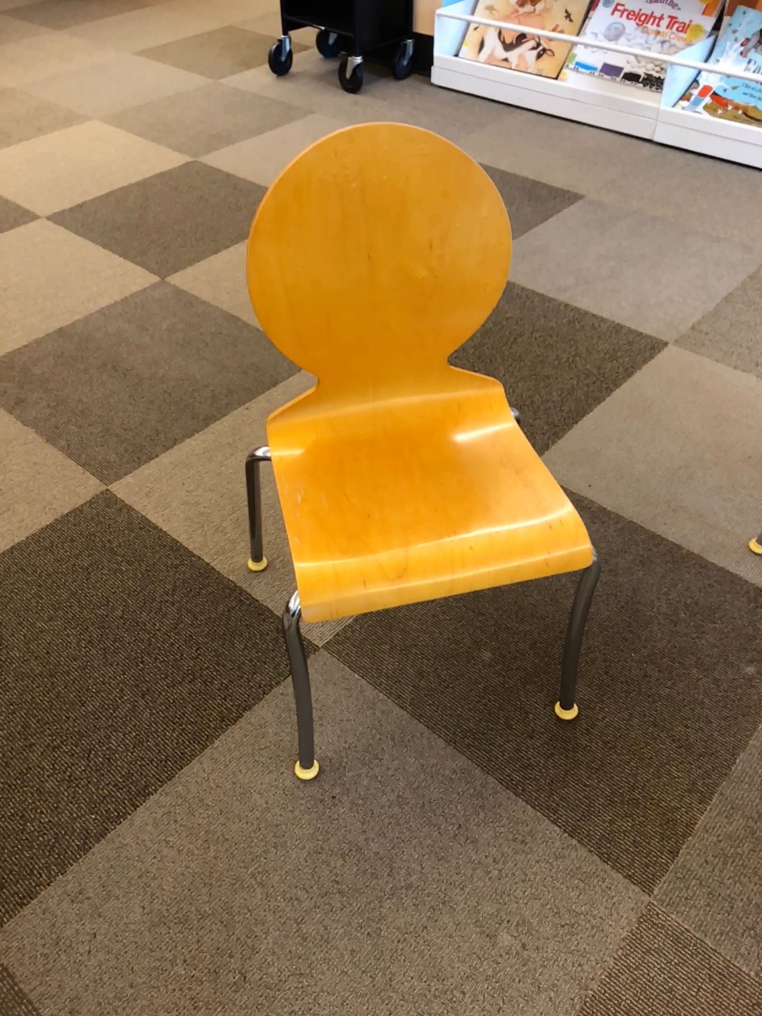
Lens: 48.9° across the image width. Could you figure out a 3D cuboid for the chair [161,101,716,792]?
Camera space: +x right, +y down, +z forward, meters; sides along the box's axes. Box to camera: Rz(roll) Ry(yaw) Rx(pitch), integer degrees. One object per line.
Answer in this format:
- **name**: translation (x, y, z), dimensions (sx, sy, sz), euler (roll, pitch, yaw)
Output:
- **chair**: translation (0.022, -0.065, 1.120), dimensions (0.465, 0.722, 0.472), euler (-10, 44, -9)
